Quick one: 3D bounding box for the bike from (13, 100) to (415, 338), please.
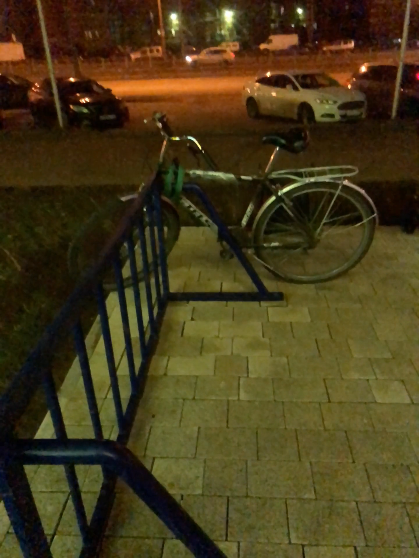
[{"bbox_3d":[0.084,-0.353,2.483,1.717,1.046,0.683,-2,28,-6],"label":"bike"}]
